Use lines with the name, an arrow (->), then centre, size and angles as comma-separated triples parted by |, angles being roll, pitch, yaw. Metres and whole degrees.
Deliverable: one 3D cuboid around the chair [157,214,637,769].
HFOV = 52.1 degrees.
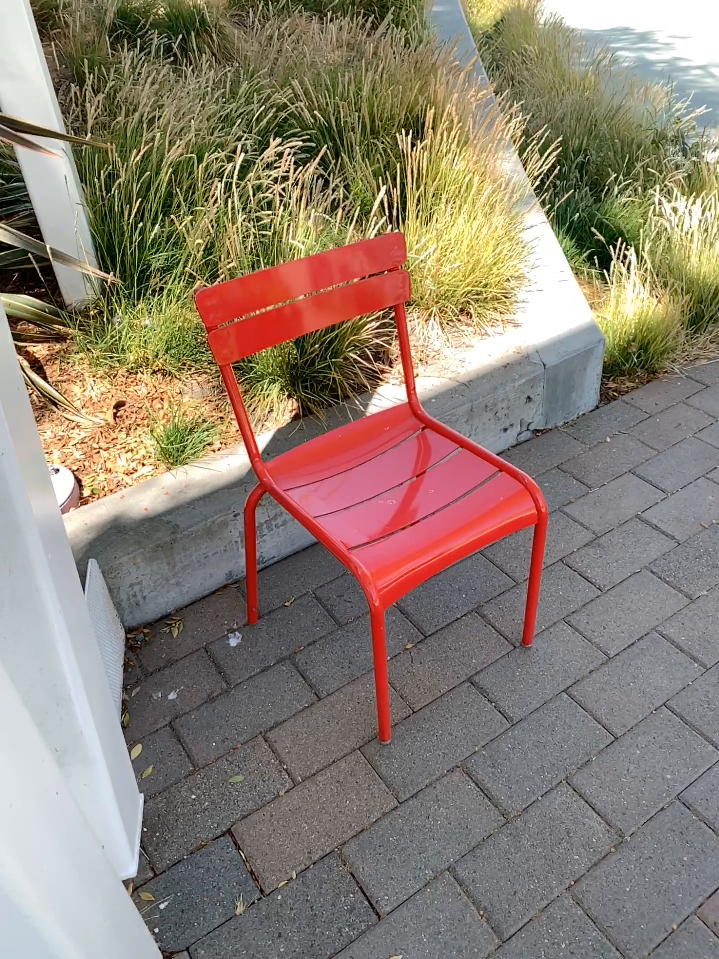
chair -> 0.062, -0.014, 1.529 | 0.581, 0.785, 0.633 | -25, 42, -25
